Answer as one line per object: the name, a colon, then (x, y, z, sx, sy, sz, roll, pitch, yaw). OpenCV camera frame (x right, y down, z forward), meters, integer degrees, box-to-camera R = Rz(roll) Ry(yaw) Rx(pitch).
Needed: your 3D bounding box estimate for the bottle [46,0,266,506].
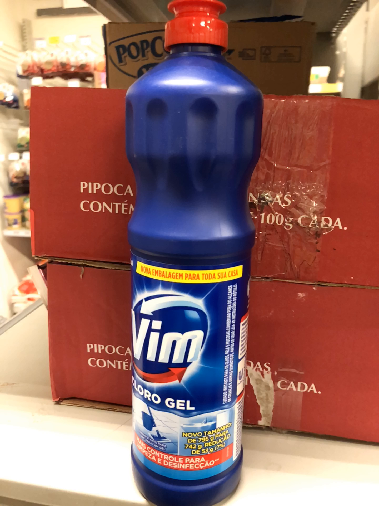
bottle: (-0.009, 0.005, 0.203, 0.070, 0.229, 0.060, 6, 16, 27)
